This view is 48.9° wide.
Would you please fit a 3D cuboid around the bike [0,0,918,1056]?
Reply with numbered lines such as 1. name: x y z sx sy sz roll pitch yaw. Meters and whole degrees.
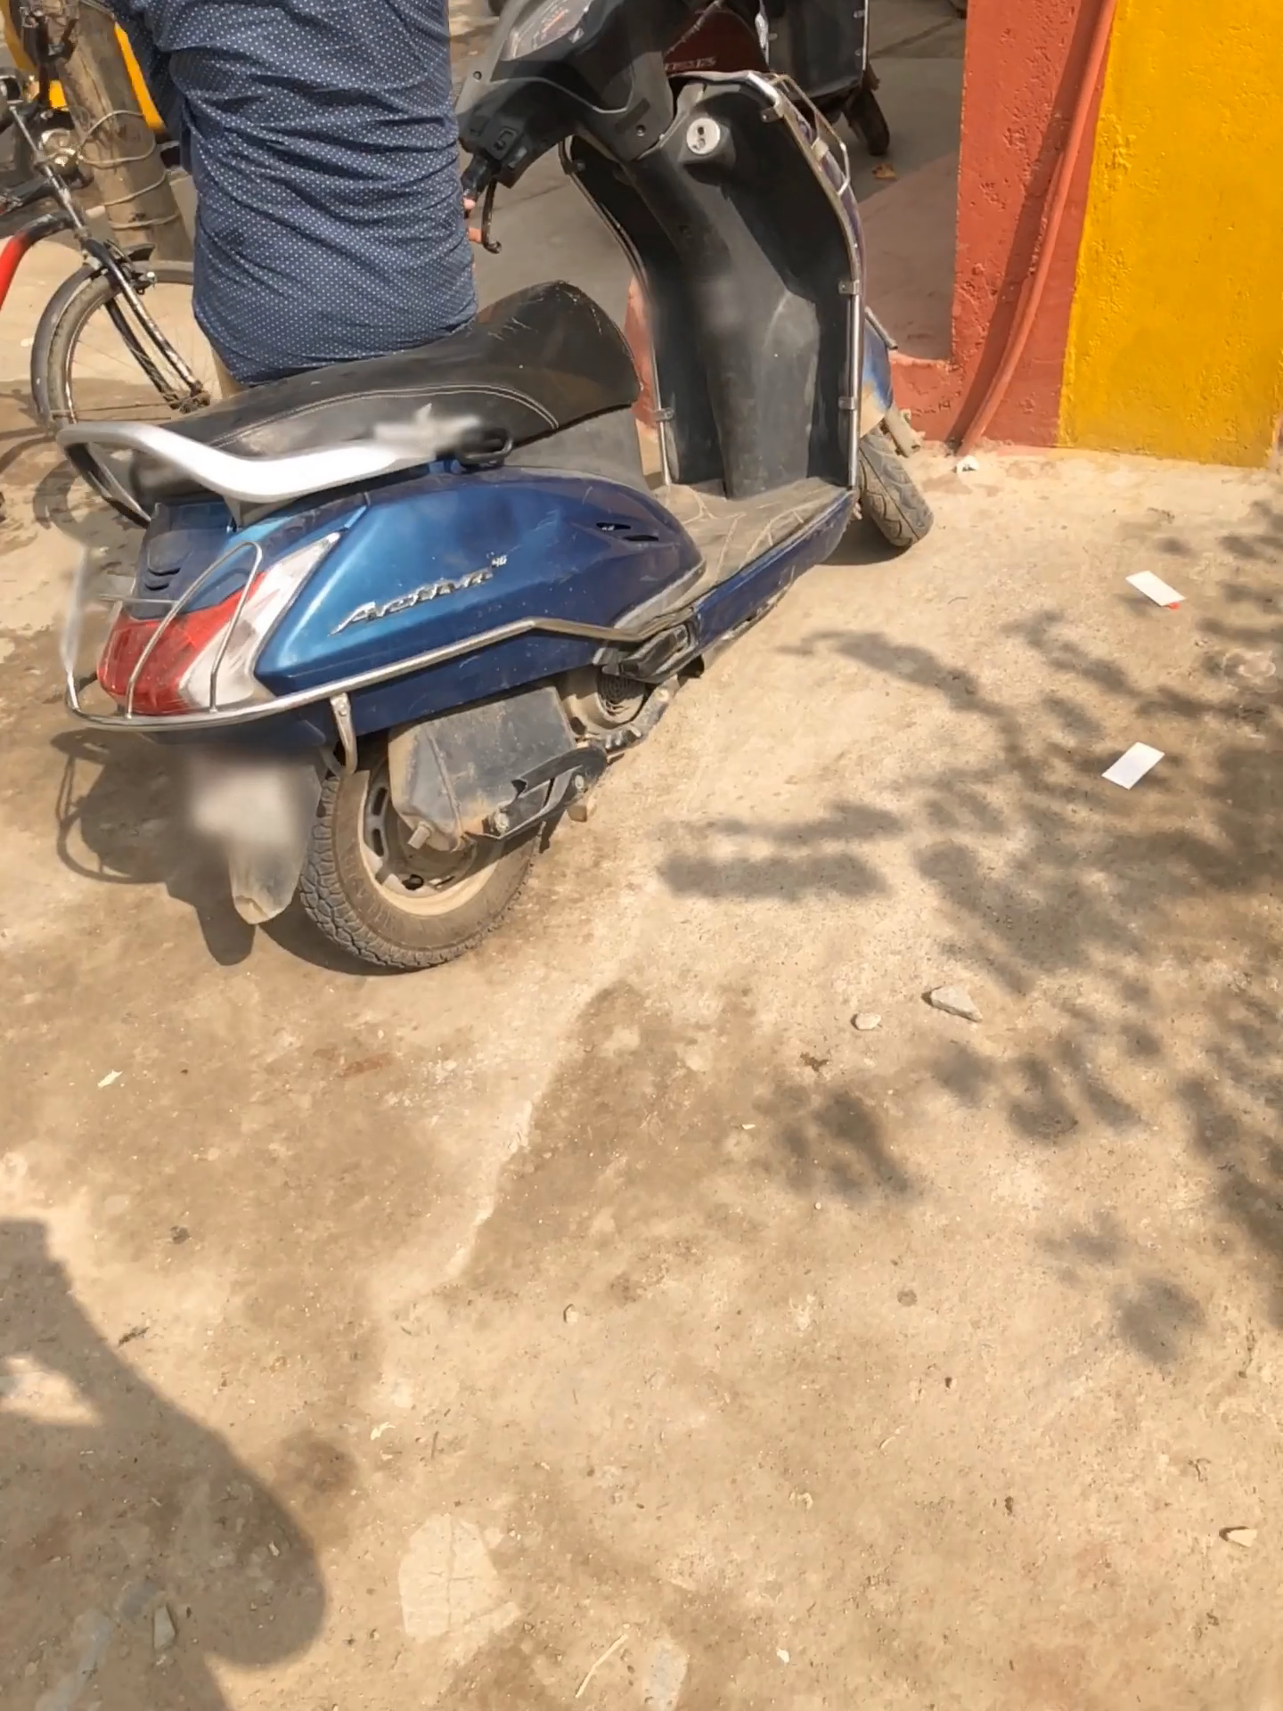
1. bike: -0.181 -0.754 2.259 0.625 1.187 1.642 18 46 24
